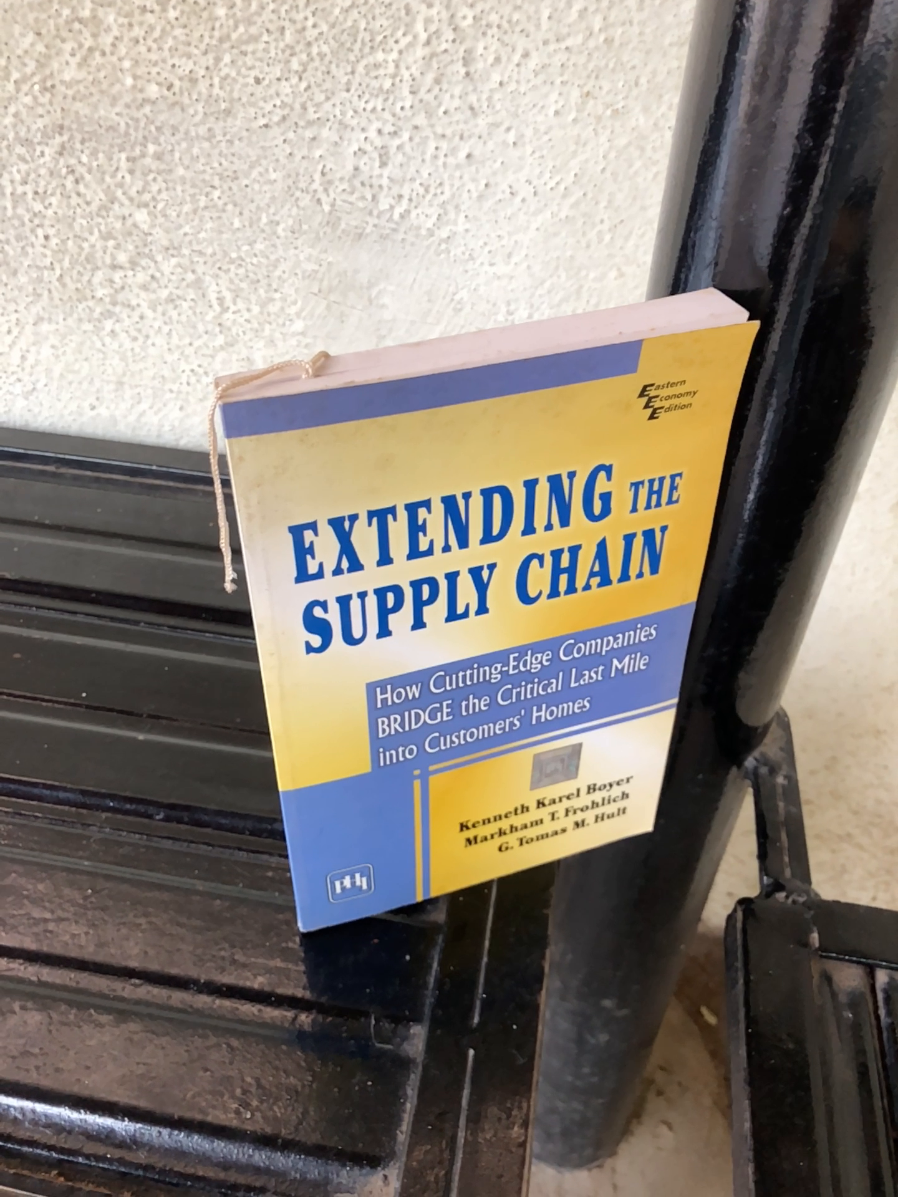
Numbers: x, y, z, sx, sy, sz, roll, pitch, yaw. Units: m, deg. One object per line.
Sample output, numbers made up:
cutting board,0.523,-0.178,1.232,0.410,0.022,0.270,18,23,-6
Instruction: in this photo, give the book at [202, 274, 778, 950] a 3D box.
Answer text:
book,0.010,0.017,0.332,0.150,0.229,0.030,-11,40,-16
